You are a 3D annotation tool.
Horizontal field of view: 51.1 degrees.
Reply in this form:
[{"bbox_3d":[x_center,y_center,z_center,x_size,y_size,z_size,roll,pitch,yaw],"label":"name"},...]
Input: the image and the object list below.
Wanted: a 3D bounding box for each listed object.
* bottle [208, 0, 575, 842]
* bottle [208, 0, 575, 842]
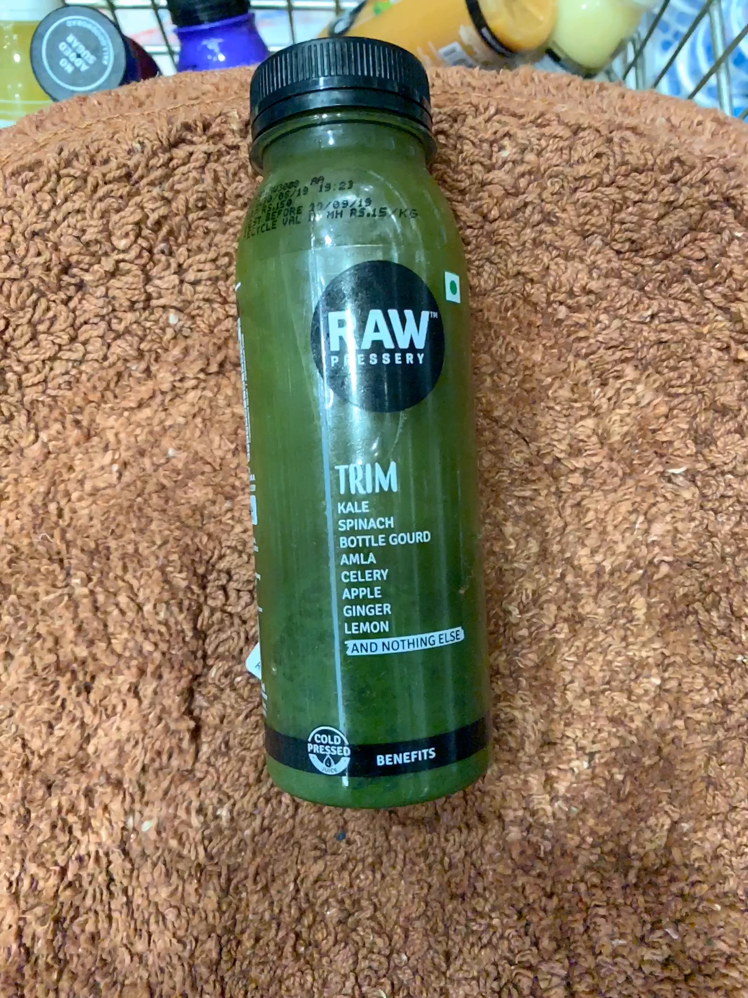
[{"bbox_3d":[0.000,-0.017,0.163,0.060,0.050,0.150,-2,89,-10],"label":"bottle"},{"bbox_3d":[0.000,-0.017,0.163,0.060,0.050,0.150,-2,89,-10],"label":"bottle"}]
